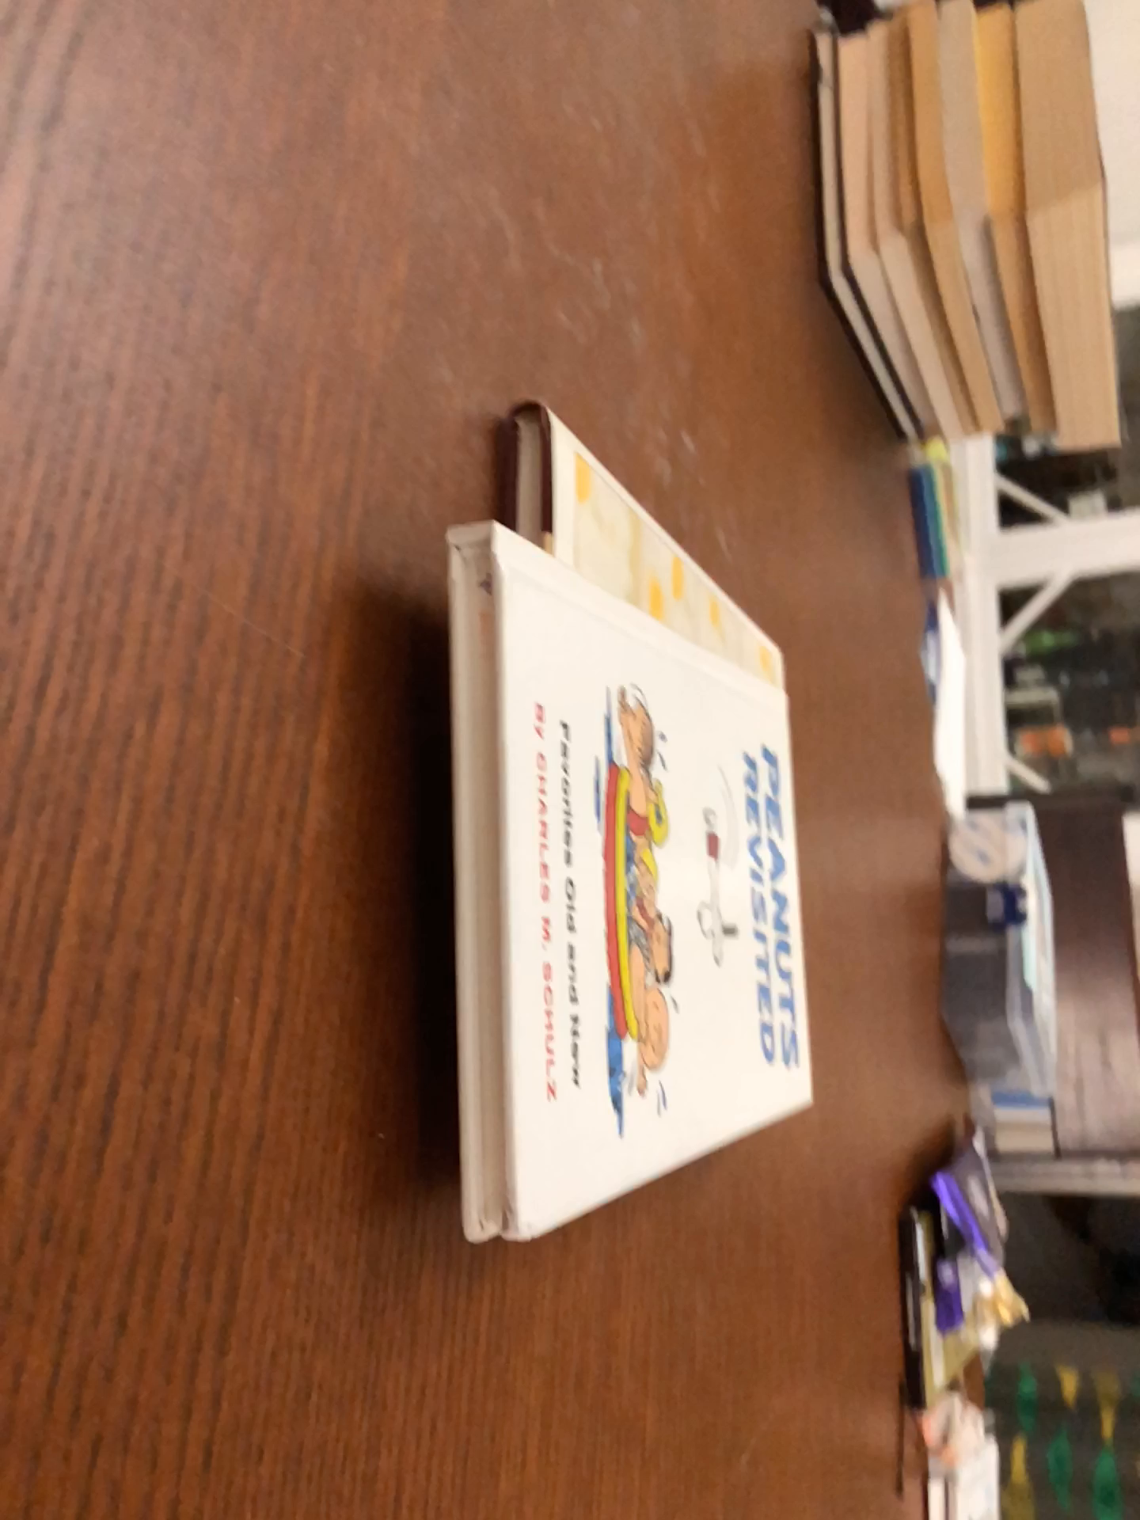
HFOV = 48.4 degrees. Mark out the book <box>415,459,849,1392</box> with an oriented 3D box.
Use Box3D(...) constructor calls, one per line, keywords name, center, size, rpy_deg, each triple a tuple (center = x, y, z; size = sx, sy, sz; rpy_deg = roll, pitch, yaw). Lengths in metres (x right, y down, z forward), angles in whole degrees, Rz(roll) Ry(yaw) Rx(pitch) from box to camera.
Box3D(name="book", center=(0.029, 0.035, 0.318), size=(0.211, 0.020, 0.160), rpy_deg=(11, 74, -64))
